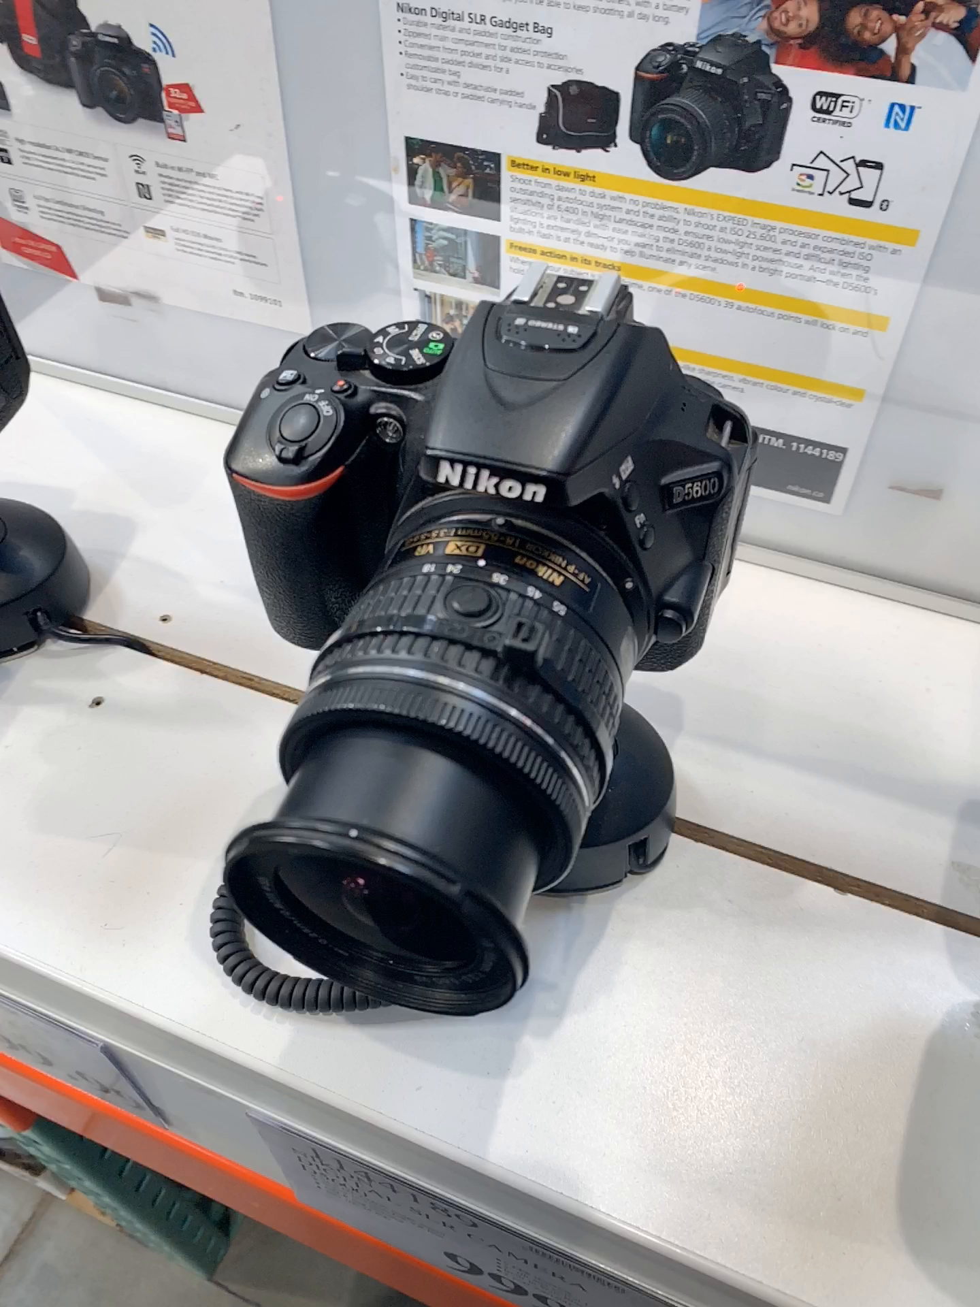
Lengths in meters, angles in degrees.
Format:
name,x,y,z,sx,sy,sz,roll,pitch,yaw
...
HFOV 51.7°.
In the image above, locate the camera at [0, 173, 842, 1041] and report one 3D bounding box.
name,x,y,z,sx,sy,sz,roll,pitch,yaw
camera,-0.001,-0.020,0.214,0.111,0.090,0.141,14,50,13
